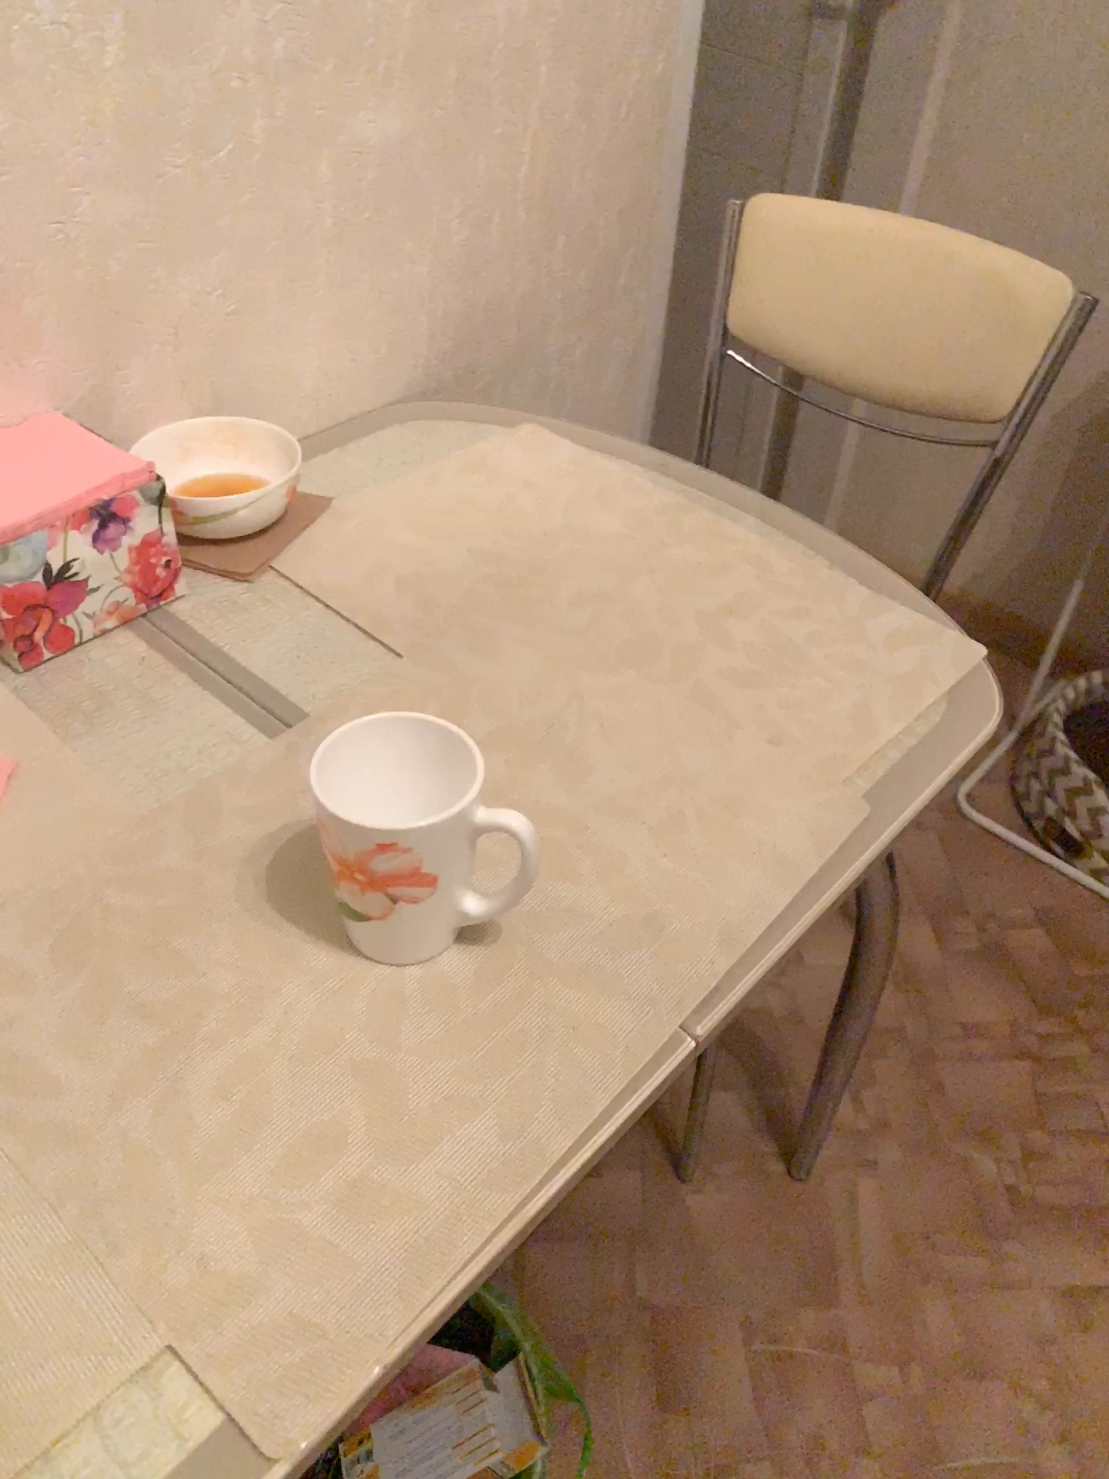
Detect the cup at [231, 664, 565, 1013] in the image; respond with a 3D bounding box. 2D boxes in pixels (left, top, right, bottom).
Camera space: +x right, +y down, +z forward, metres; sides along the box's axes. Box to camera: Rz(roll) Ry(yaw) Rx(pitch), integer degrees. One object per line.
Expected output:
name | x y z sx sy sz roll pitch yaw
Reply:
cup | -0.070 0.045 0.541 0.120 0.099 0.091 18 44 16
